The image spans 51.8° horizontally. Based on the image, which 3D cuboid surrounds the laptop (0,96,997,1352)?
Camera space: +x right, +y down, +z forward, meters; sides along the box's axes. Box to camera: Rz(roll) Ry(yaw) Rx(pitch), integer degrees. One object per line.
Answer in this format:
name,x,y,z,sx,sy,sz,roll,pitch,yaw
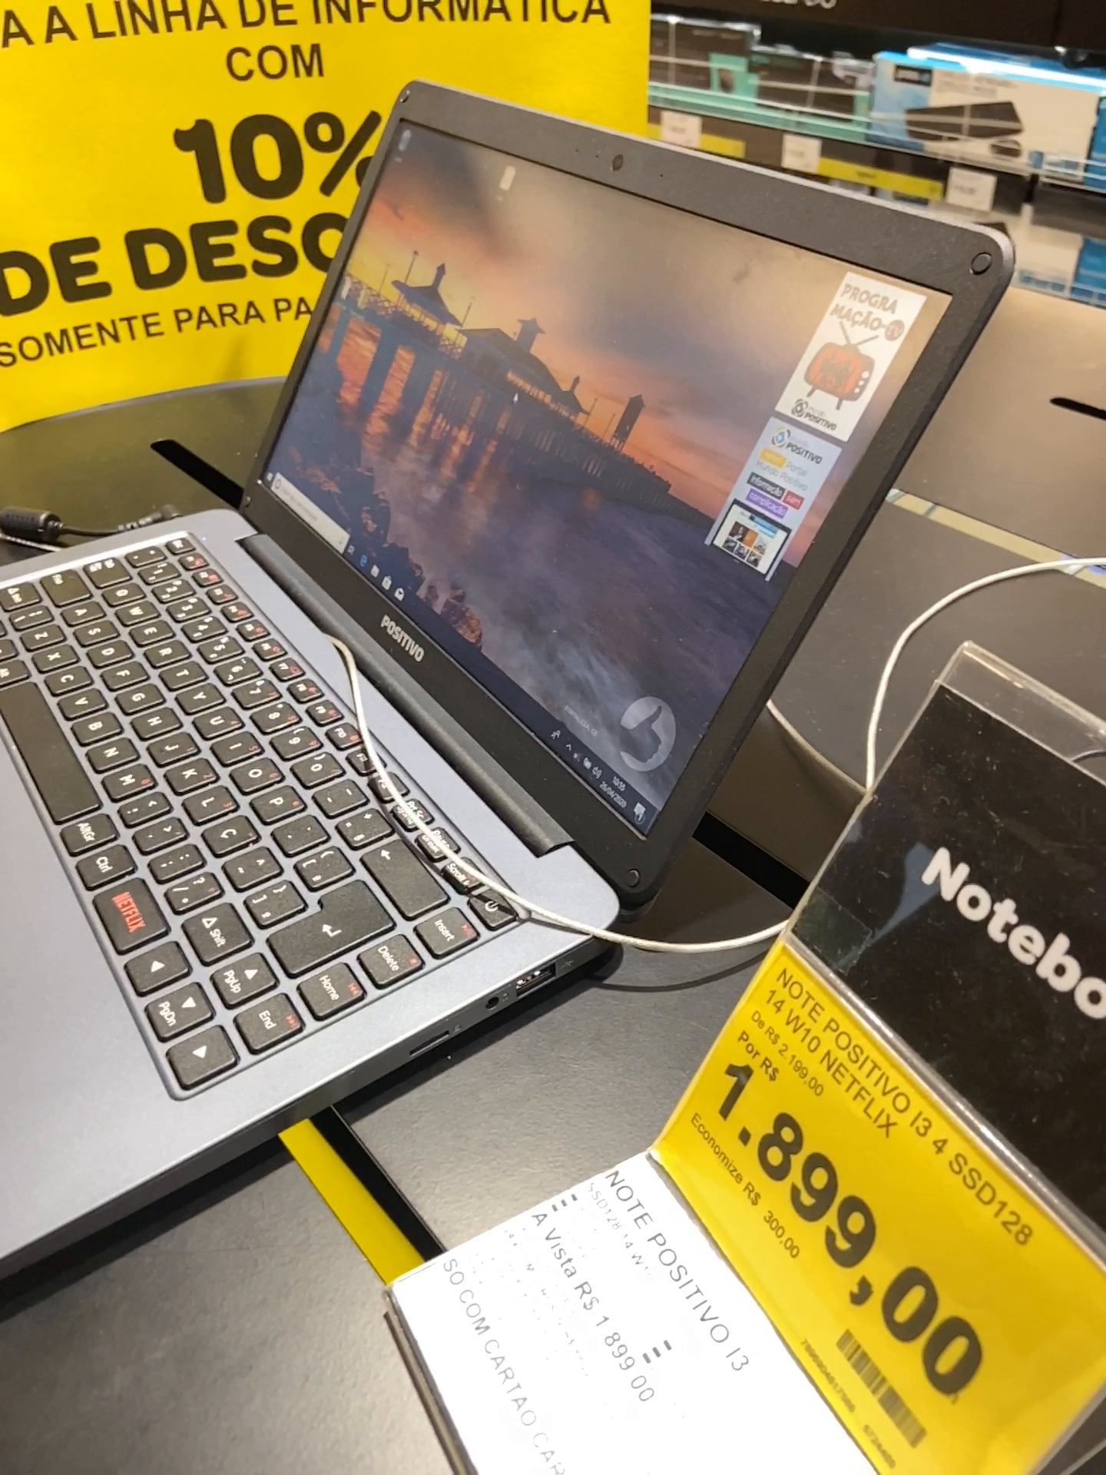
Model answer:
laptop,-0.117,-0.076,0.384,0.342,0.172,0.333,-24,43,-25
